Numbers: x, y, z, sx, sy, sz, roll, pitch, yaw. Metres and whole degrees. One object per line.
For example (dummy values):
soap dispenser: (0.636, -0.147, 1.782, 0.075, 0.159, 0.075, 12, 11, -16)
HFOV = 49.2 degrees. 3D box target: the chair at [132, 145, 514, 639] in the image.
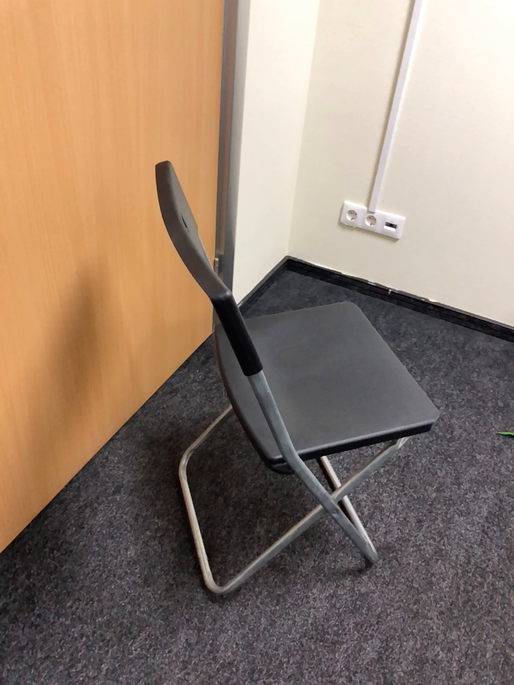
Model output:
chair: (0.061, 0.080, 1.053, 0.481, 0.725, 0.483, -7, 39, -17)
